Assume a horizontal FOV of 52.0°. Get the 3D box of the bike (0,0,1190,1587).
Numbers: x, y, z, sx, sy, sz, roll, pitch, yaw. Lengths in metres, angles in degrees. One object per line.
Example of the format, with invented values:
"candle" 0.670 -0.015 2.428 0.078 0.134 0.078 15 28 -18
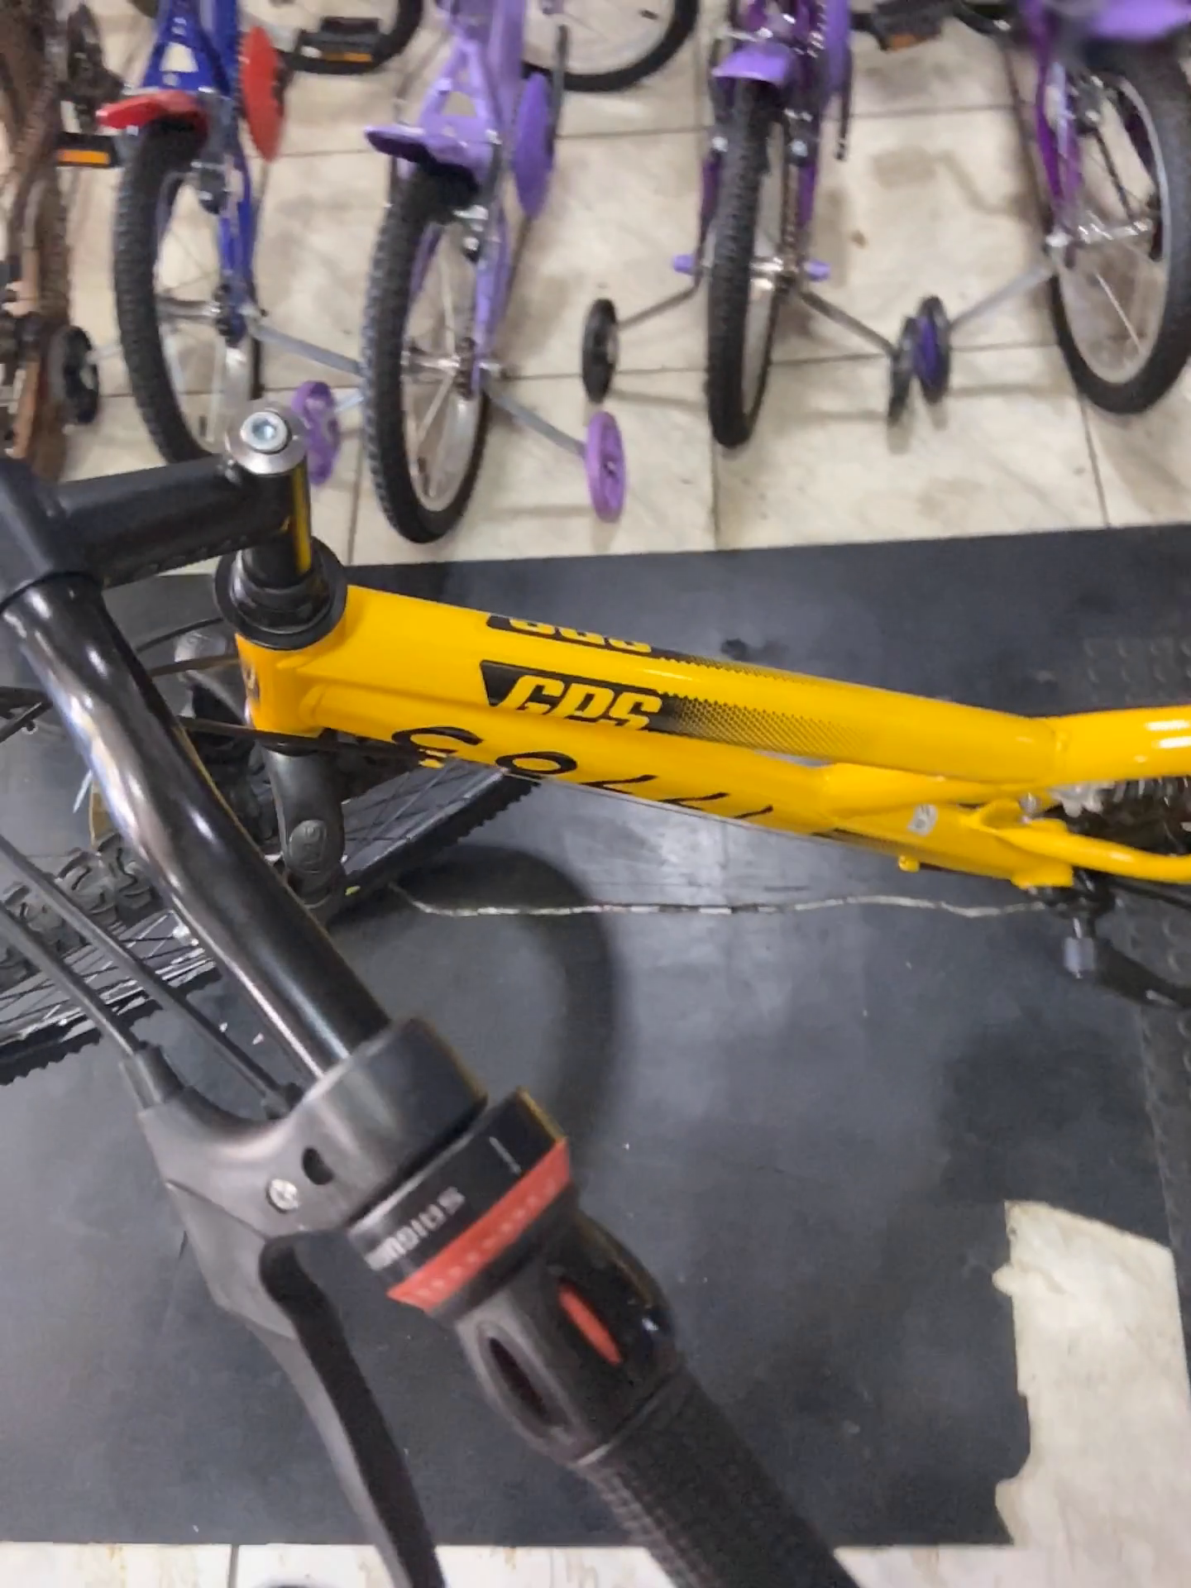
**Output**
"bike" 0.245 0.001 0.594 1.520 0.990 0.476 -6 64 0
